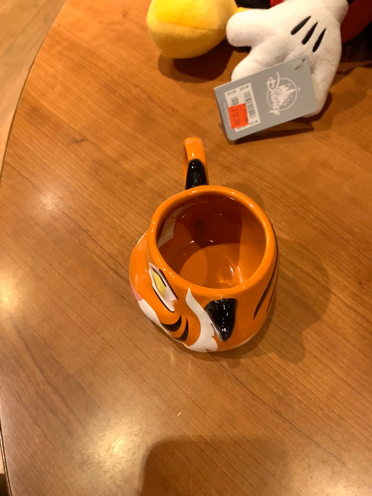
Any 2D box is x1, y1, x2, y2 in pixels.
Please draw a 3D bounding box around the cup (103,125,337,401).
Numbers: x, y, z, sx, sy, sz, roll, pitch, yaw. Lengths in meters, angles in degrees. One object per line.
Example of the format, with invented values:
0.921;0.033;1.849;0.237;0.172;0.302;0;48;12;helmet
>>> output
0.009;0.009;0.258;0.106;0.087;0.150;-7;62;-6;cup
